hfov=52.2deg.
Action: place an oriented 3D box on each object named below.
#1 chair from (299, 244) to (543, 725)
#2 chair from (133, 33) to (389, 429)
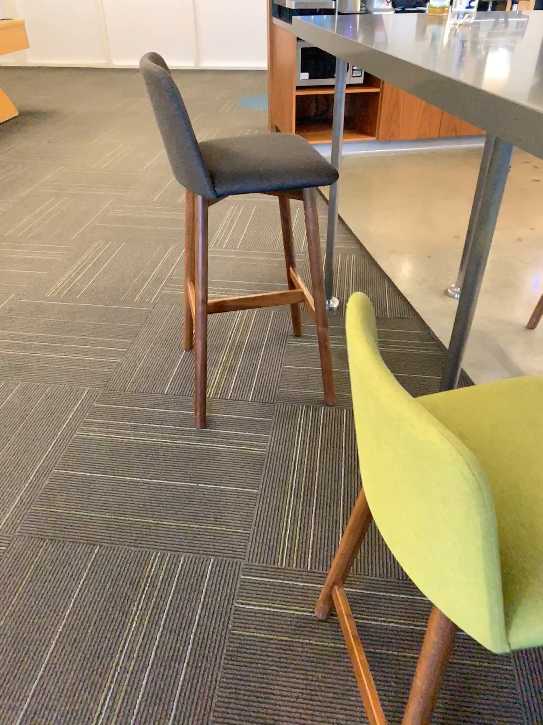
[{"bbox_3d":[0.335,0.315,0.849,0.480,0.825,0.443,-7,36,-8],"label":"chair"},{"bbox_3d":[-0.071,-0.413,1.715,0.540,0.974,0.644,-8,36,-10],"label":"chair"}]
